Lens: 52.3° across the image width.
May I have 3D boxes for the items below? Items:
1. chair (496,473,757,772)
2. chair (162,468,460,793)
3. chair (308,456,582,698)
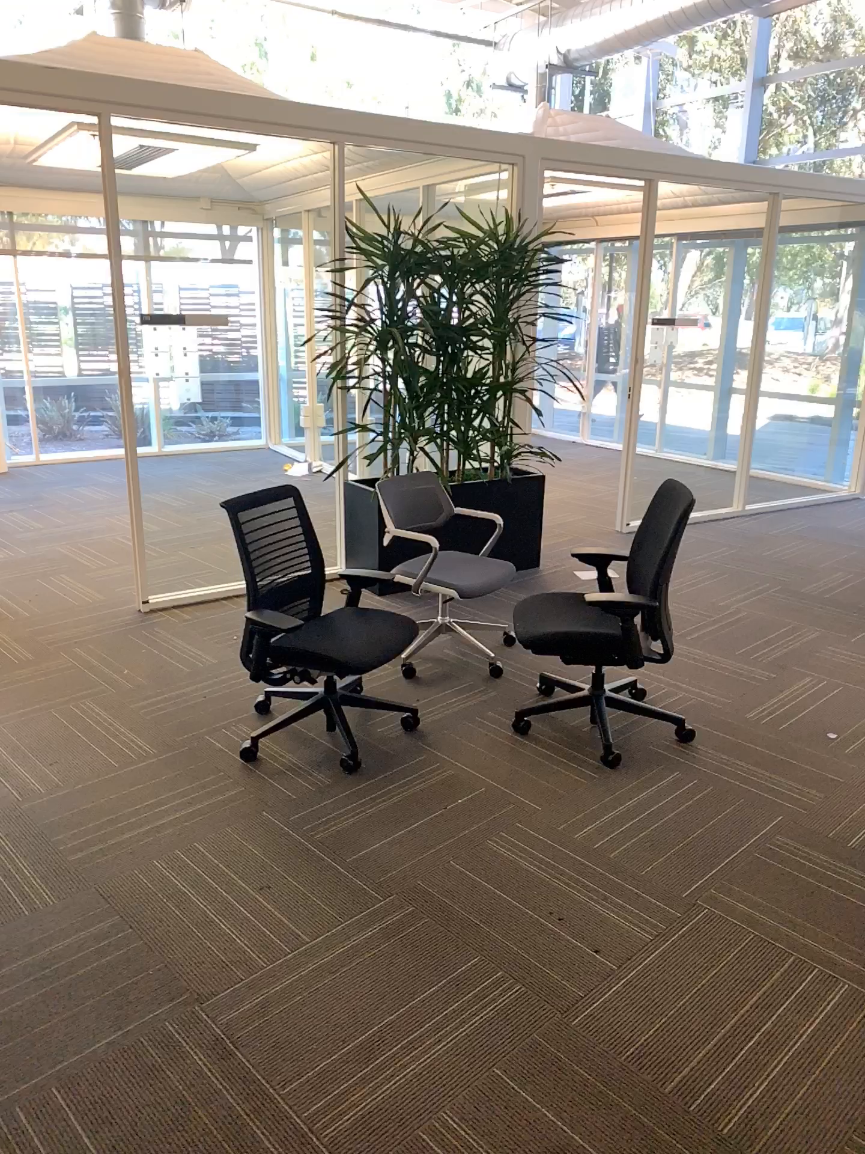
[{"bbox_3d":[0.665,0.126,3.381,0.760,0.886,0.854,1,17,0],"label":"chair"},{"bbox_3d":[-0.413,0.129,3.281,0.721,0.886,0.812,10,19,26],"label":"chair"},{"bbox_3d":[0.055,-0.066,4.114,0.923,0.797,0.841,14,21,37],"label":"chair"}]
